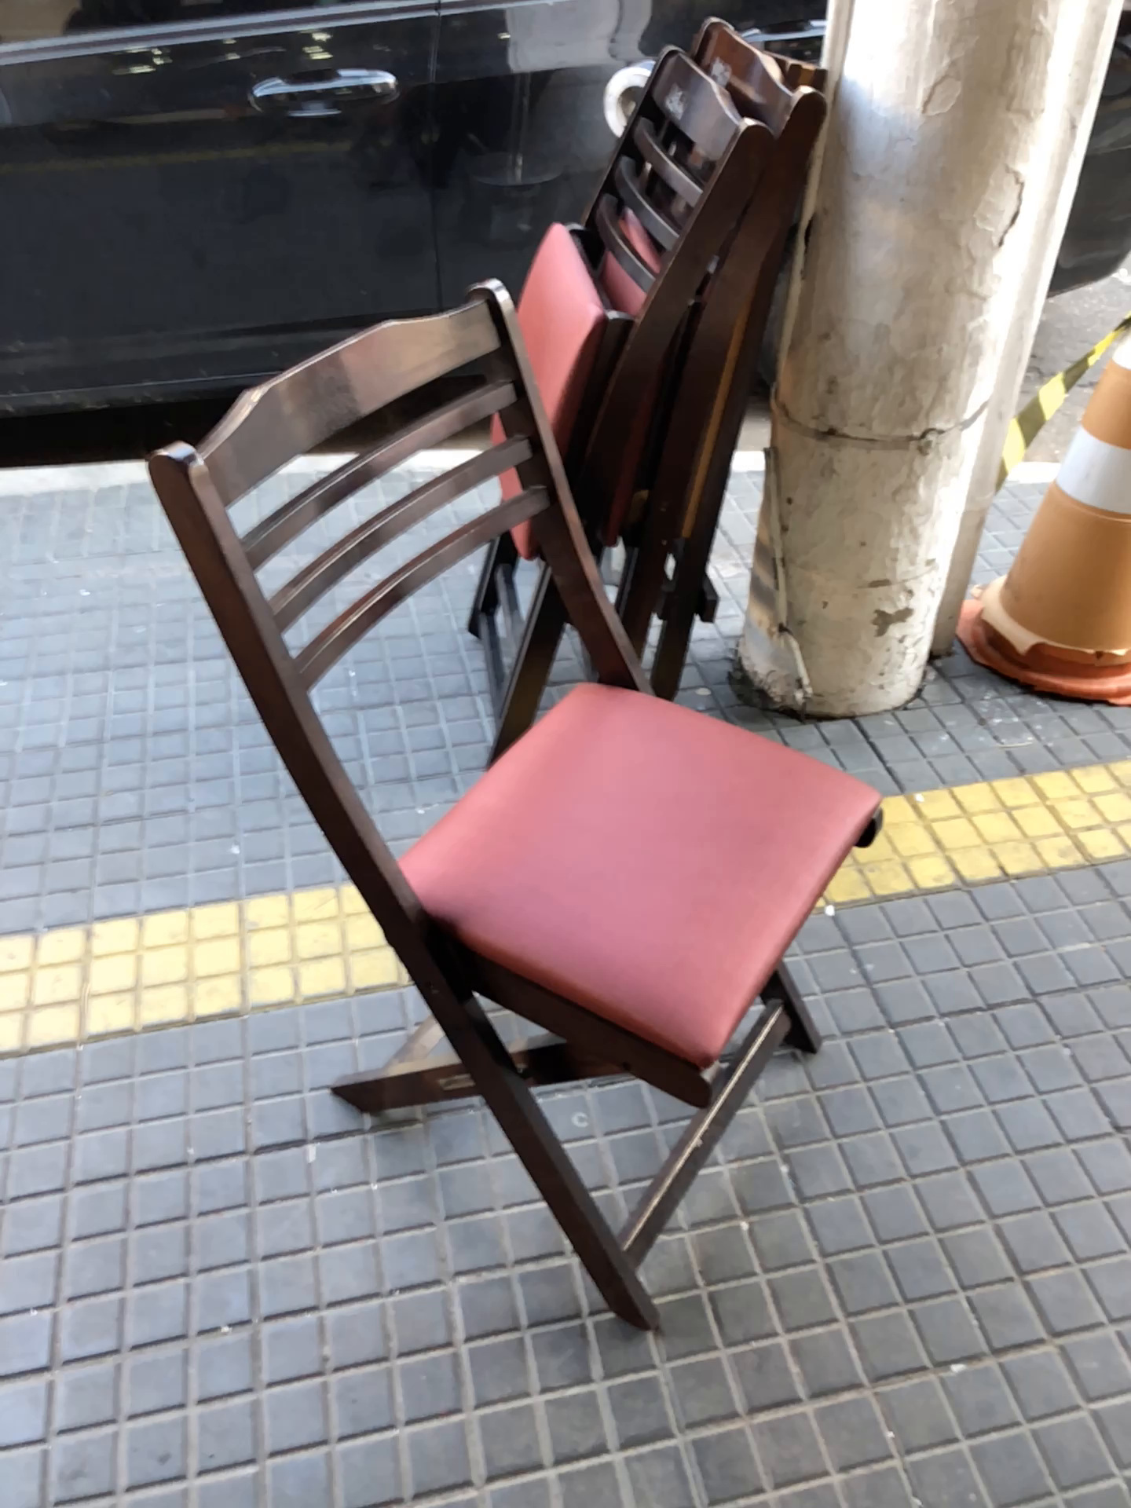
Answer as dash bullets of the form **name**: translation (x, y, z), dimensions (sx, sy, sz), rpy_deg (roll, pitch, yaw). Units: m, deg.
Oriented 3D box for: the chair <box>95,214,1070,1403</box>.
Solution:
- **chair**: translation (0.030, 0.061, 1.137), dimensions (0.481, 0.844, 0.513), rpy_deg (24, 46, 22)
